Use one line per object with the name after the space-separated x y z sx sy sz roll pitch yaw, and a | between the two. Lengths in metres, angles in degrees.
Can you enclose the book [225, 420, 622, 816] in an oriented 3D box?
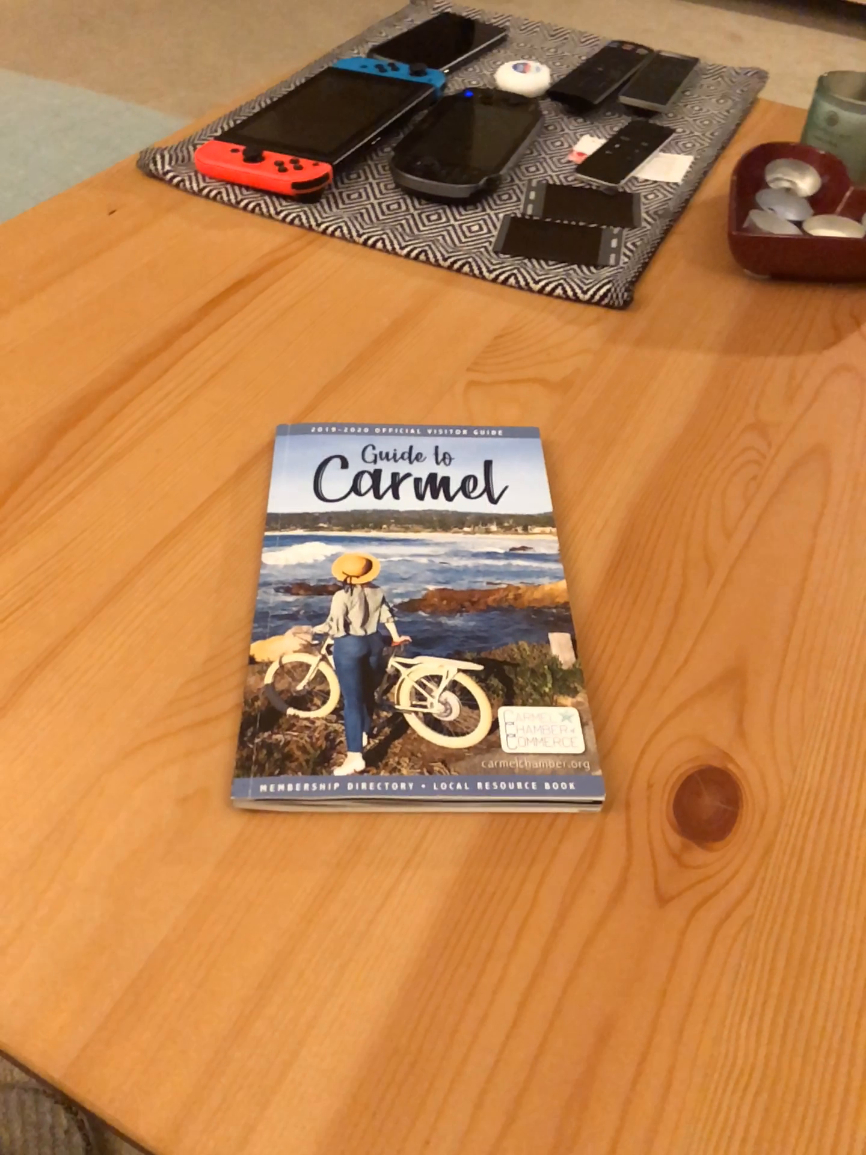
-0.006 0.004 0.403 0.137 0.010 0.208 1 47 -4 | book
